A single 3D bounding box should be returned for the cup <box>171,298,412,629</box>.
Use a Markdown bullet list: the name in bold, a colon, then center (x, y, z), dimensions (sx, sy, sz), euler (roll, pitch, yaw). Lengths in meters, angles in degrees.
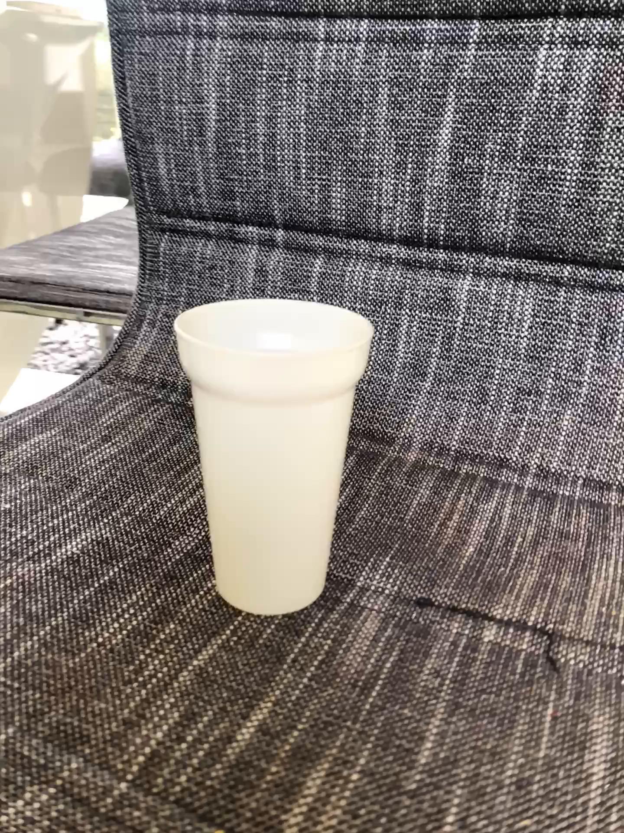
- **cup**: center (-0.012, 0.016, 0.286), dimensions (0.080, 0.109, 0.080), euler (2, 26, -1)
